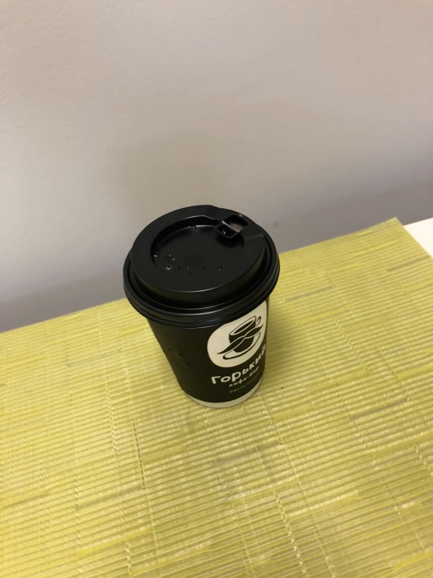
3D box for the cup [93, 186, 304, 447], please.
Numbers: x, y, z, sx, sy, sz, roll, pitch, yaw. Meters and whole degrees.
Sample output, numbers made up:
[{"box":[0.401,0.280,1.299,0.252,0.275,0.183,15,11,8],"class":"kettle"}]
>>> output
[{"box":[-0.007,0.018,0.326,0.092,0.119,0.090,-5,44,5],"class":"cup"}]
